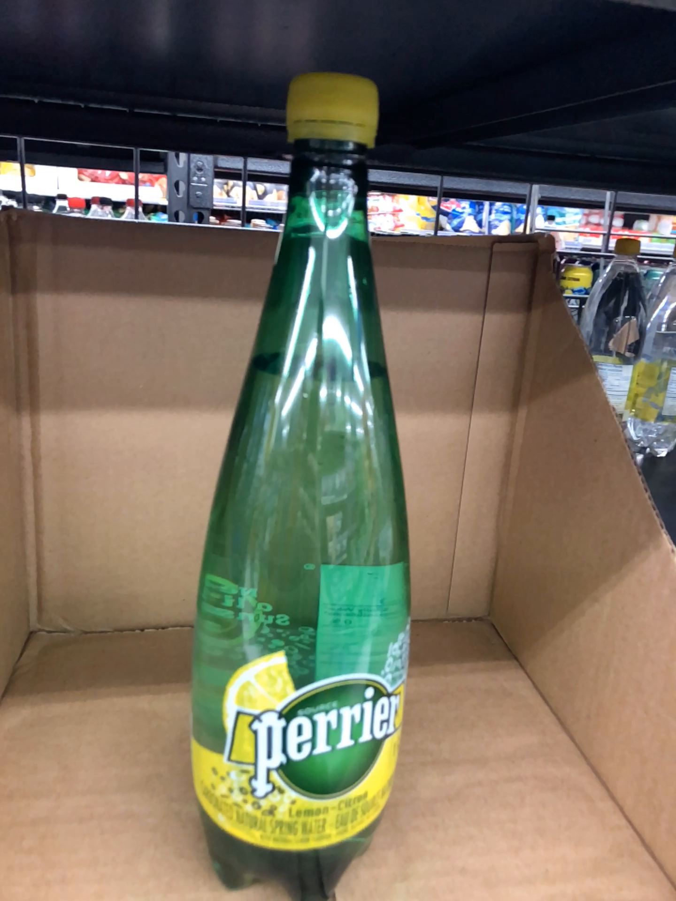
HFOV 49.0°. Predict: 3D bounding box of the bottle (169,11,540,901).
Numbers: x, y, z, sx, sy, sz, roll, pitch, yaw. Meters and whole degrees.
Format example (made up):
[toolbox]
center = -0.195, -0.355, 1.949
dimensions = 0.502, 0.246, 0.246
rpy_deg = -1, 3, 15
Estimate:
[bottle]
center = -0.010, 0.026, 0.287
dimensions = 0.100, 0.318, 0.080
rpy_deg = -1, 17, -18
